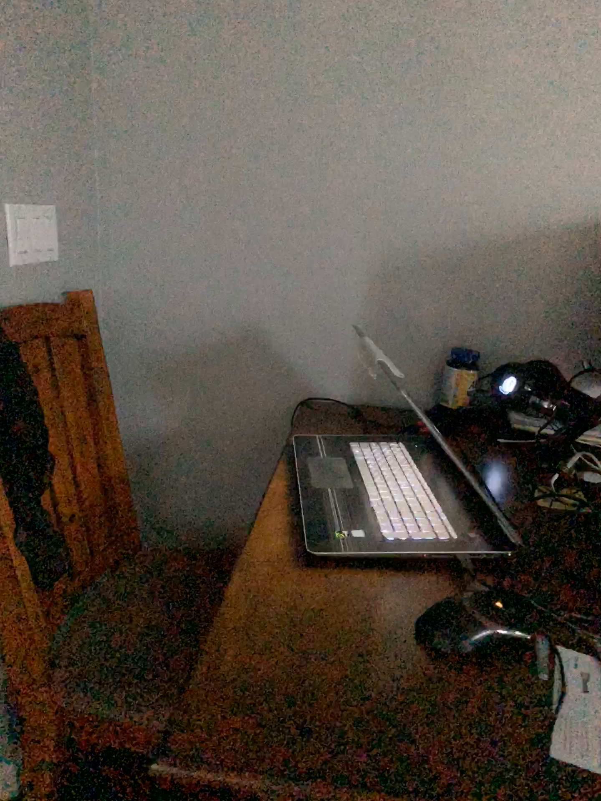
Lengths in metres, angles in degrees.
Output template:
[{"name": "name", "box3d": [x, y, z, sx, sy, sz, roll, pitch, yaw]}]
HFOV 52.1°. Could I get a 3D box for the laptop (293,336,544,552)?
[{"name": "laptop", "box3d": [0.131, 0.034, 0.907, 0.256, 0.187, 0.395, 1, 16, -3]}]
